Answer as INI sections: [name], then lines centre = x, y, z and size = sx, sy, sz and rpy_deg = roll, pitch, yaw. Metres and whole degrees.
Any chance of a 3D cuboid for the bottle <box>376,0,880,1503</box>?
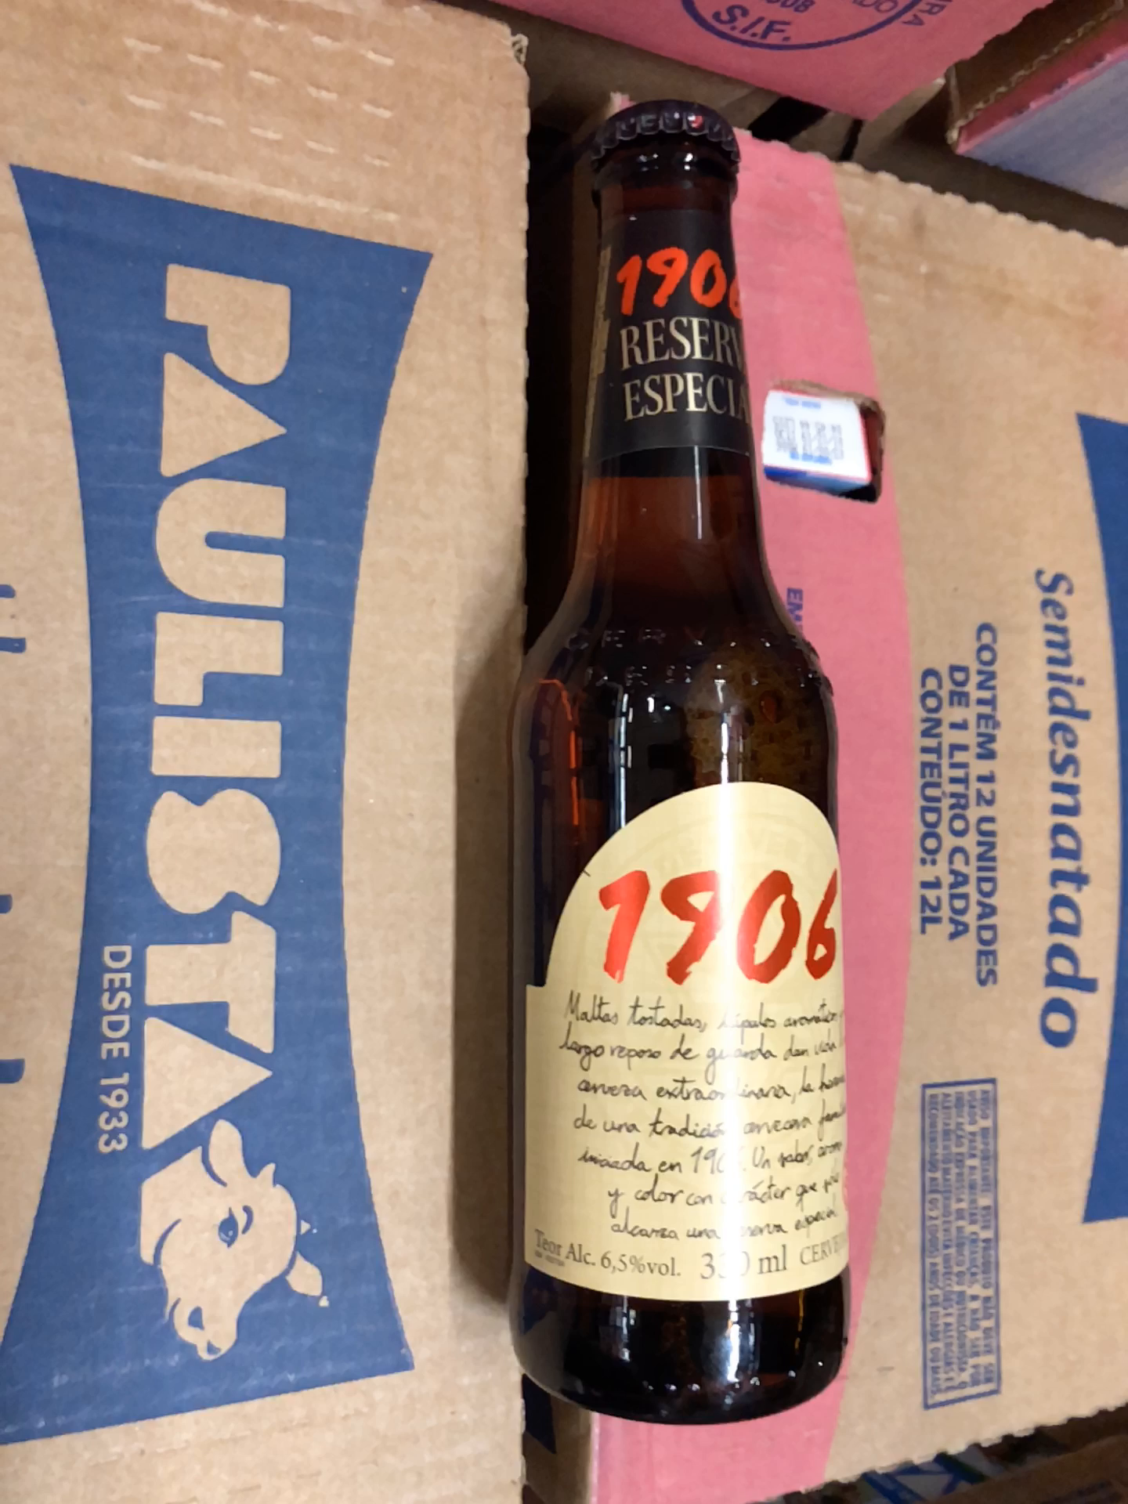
[bottle]
centre = 0.012, -0.014, 0.243
size = 0.070, 0.060, 0.270
rpy_deg = 3, 87, -28
